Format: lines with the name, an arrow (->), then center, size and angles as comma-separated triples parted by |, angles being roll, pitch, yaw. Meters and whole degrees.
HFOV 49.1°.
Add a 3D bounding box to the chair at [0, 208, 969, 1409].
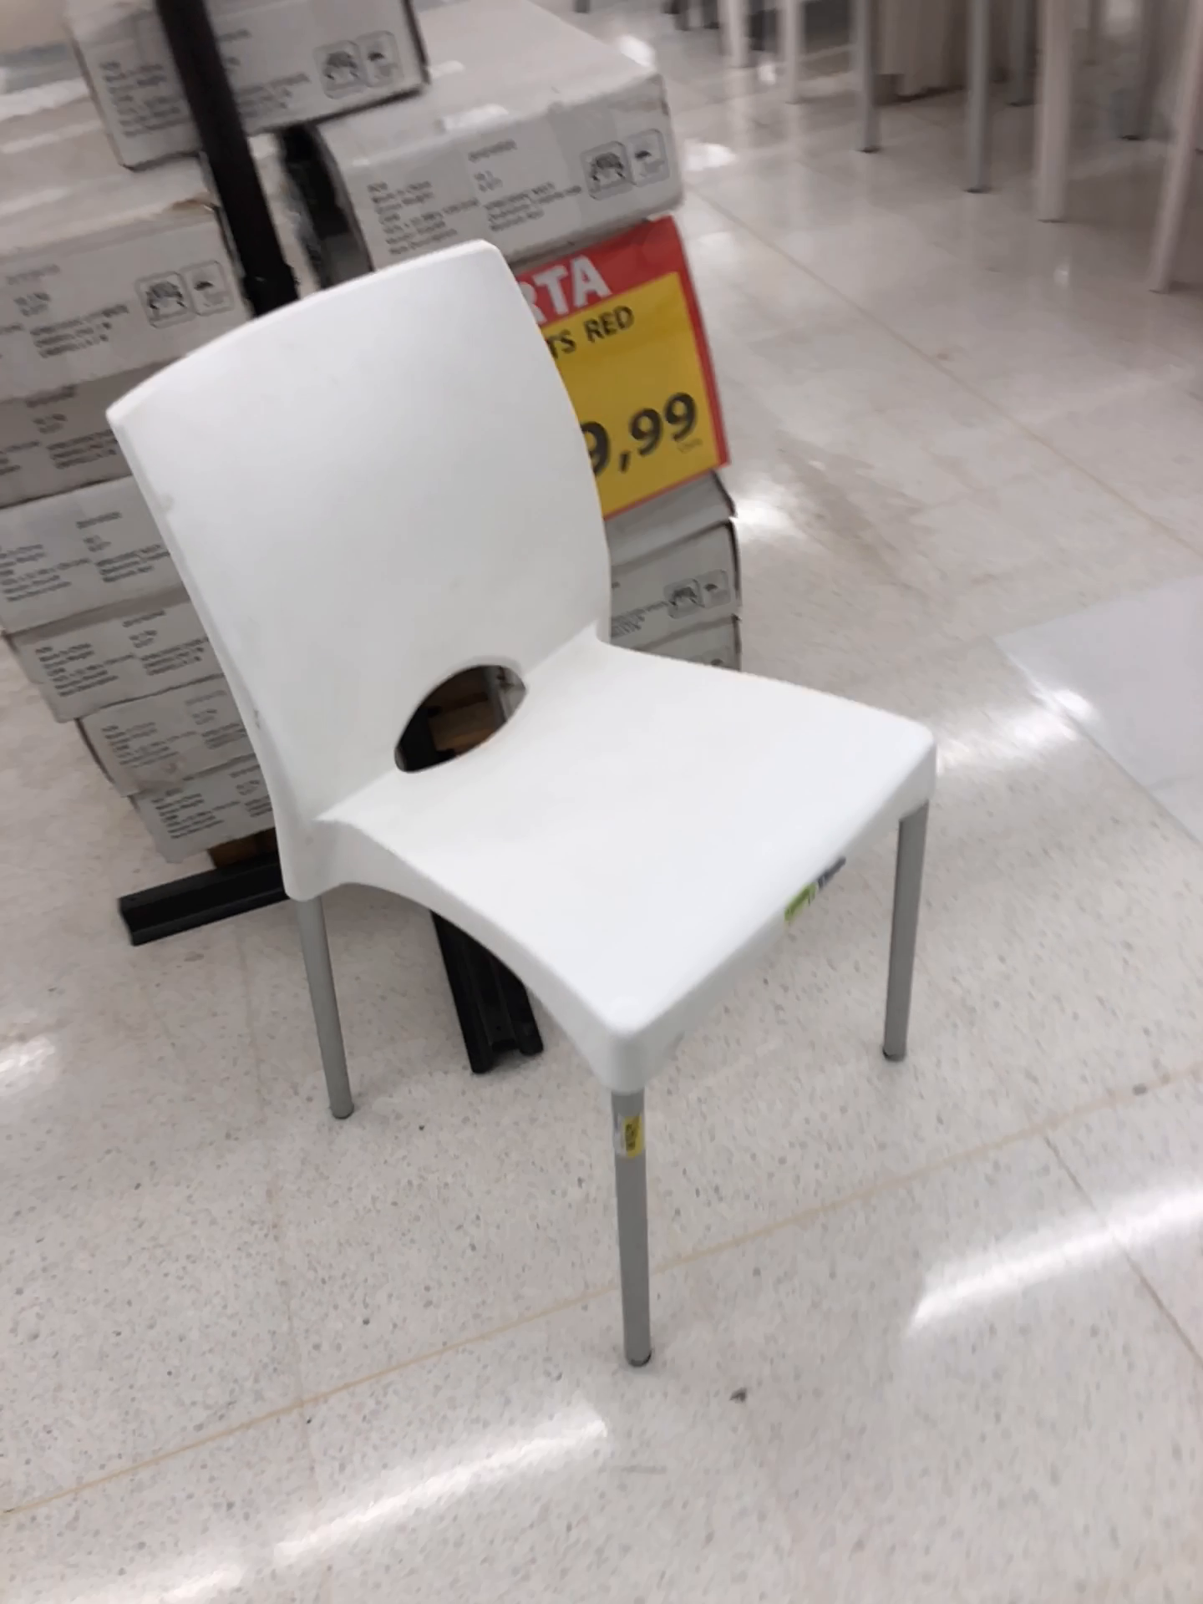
chair -> -0.065, -0.009, 1.186 | 0.562, 0.794, 0.502 | 27, 53, 36
